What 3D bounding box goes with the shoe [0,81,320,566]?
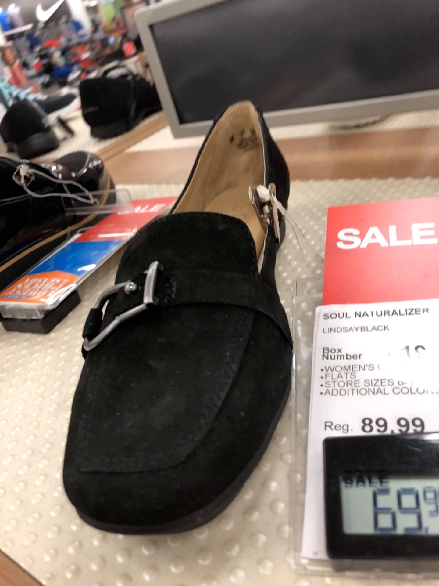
[{"bbox_3d":[-0.008,-0.020,0.224,0.080,0.079,0.238,-6,32,20],"label":"shoe"}]
